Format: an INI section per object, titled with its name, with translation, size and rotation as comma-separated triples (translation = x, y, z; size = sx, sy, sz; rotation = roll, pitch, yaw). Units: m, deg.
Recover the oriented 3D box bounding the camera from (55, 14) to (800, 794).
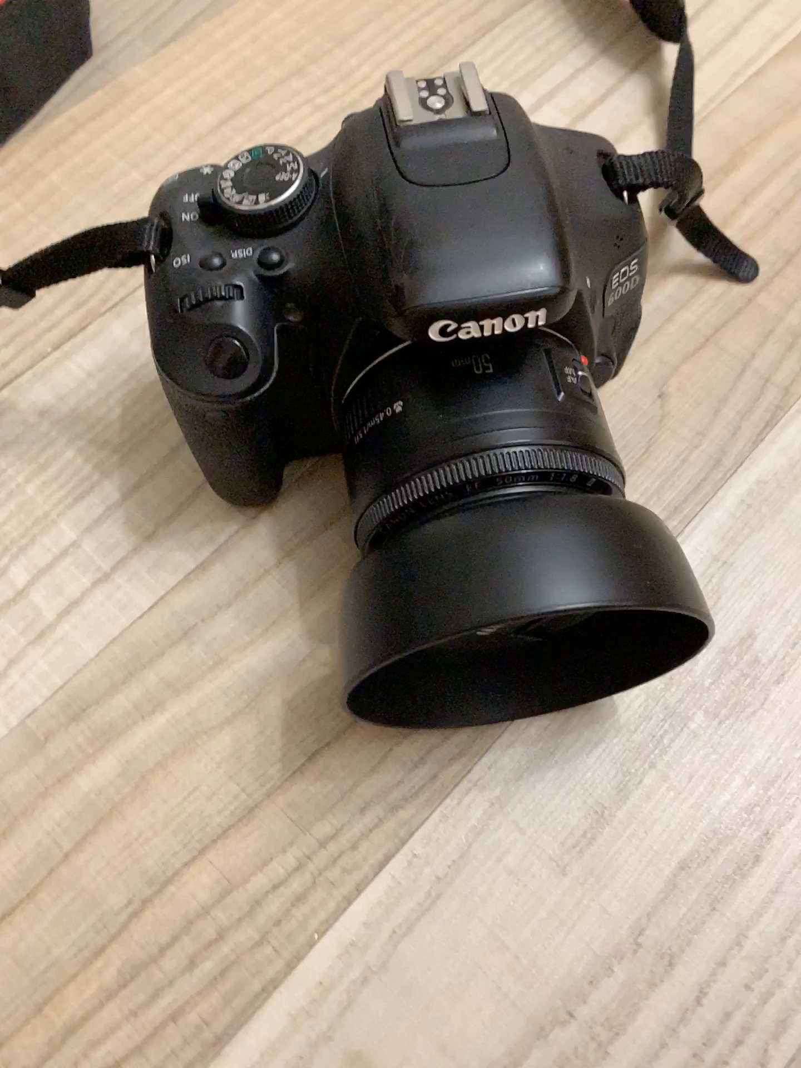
[camera]
translation = 0.004, -0.030, 0.207
size = 0.139, 0.090, 0.151
rotation = -8, 65, -2
